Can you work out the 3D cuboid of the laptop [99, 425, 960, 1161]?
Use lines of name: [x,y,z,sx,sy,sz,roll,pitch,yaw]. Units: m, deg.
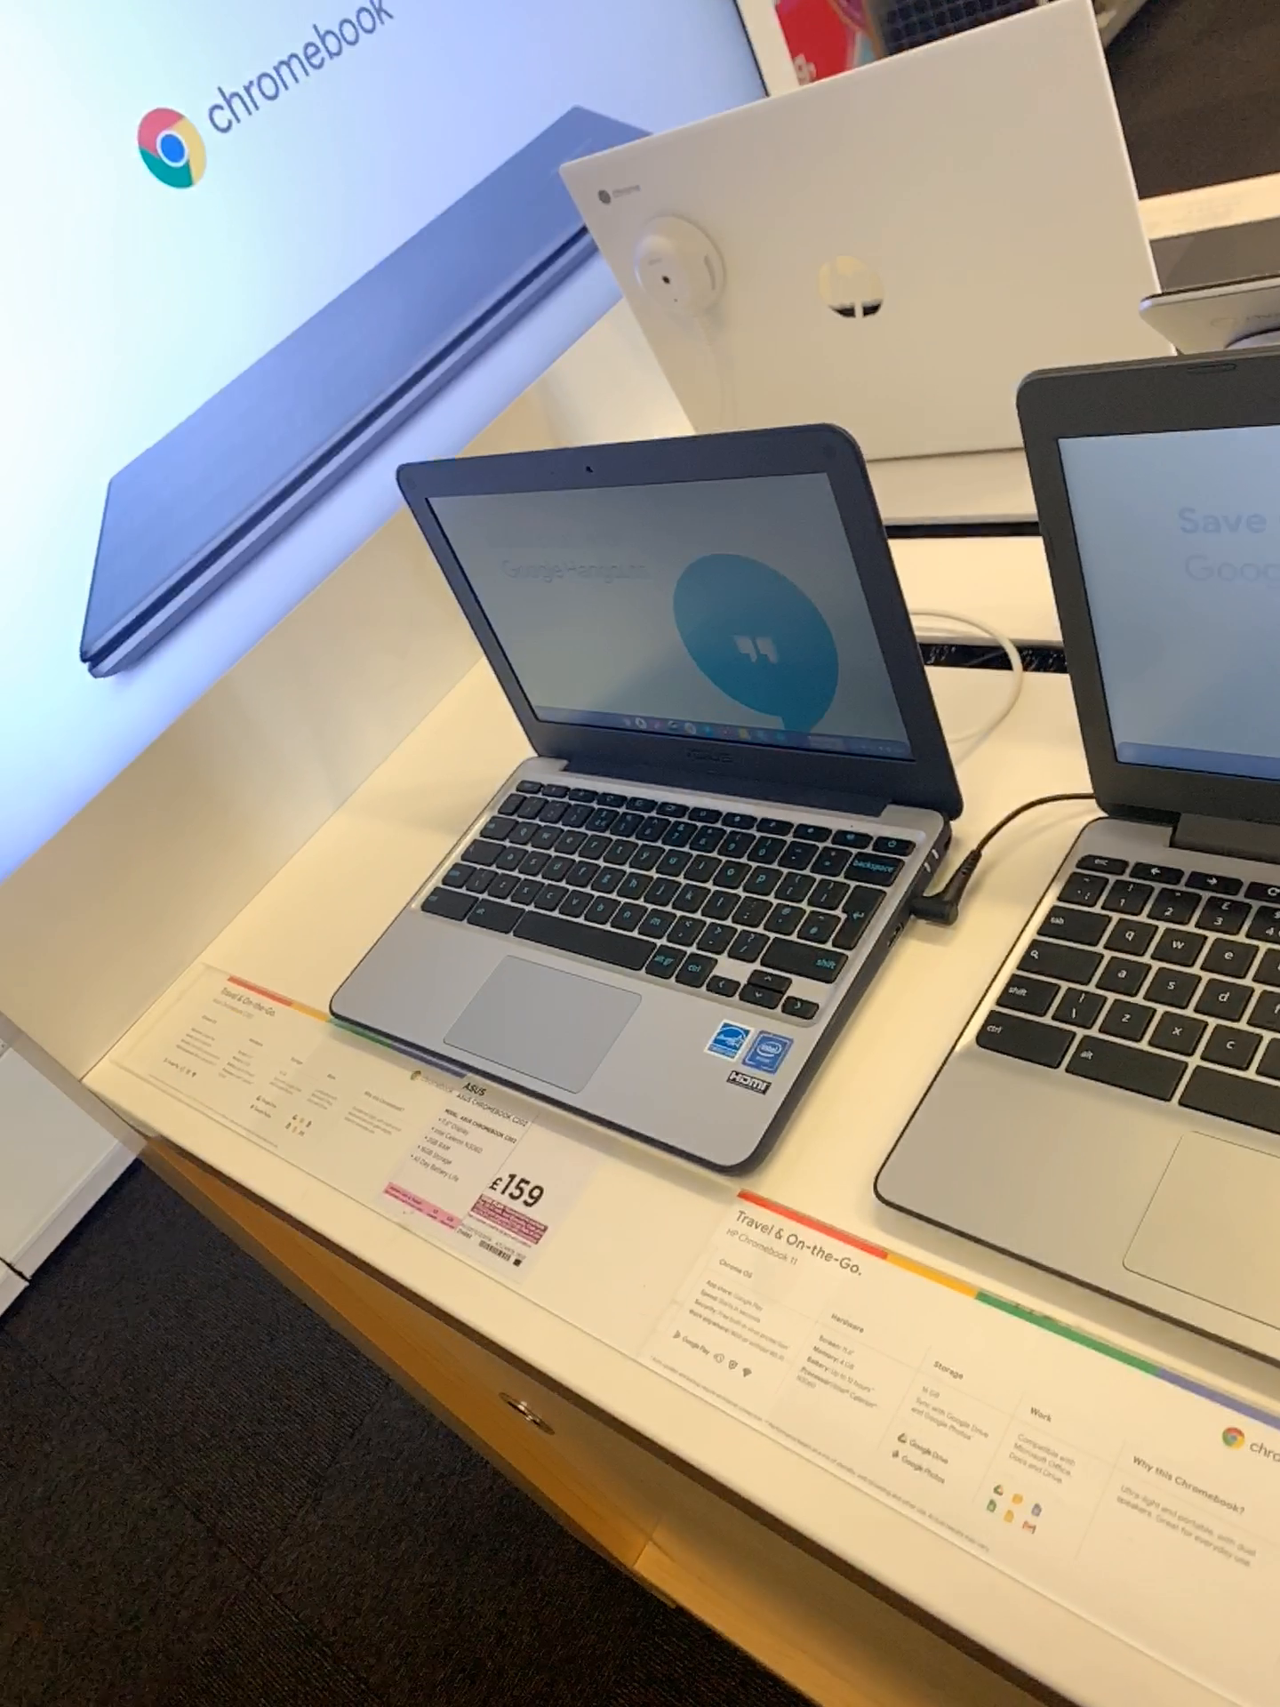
laptop: [-0.048,-0.043,0.602,0.281,0.183,0.216,10,53,42]
